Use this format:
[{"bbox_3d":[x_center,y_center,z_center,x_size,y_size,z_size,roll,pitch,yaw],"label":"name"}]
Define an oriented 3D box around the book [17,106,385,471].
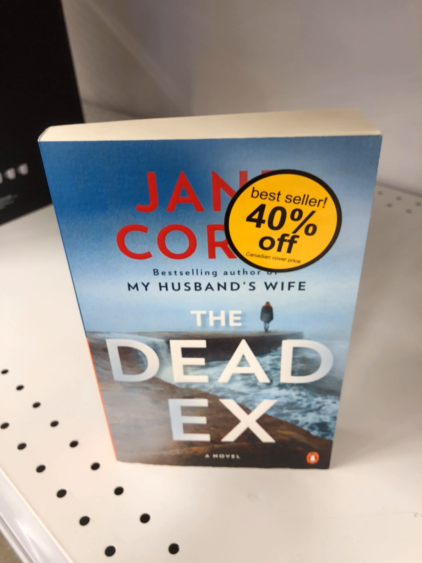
[{"bbox_3d":[0.001,0.020,0.263,0.146,0.211,0.040,0,34,6],"label":"book"}]
